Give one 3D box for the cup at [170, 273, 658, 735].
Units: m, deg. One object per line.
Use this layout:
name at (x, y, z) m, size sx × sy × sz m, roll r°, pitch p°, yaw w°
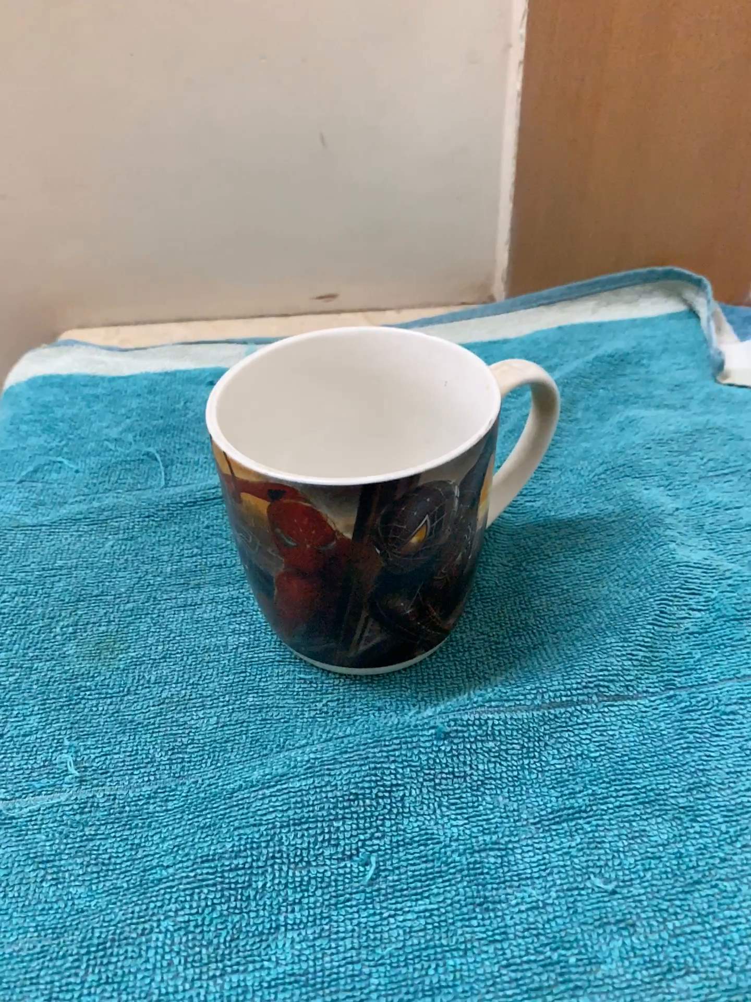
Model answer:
cup at (0.011, -0.006, 0.259) m, size 0.120 × 0.089 × 0.081 m, roll -21°, pitch 42°, yaw -22°
